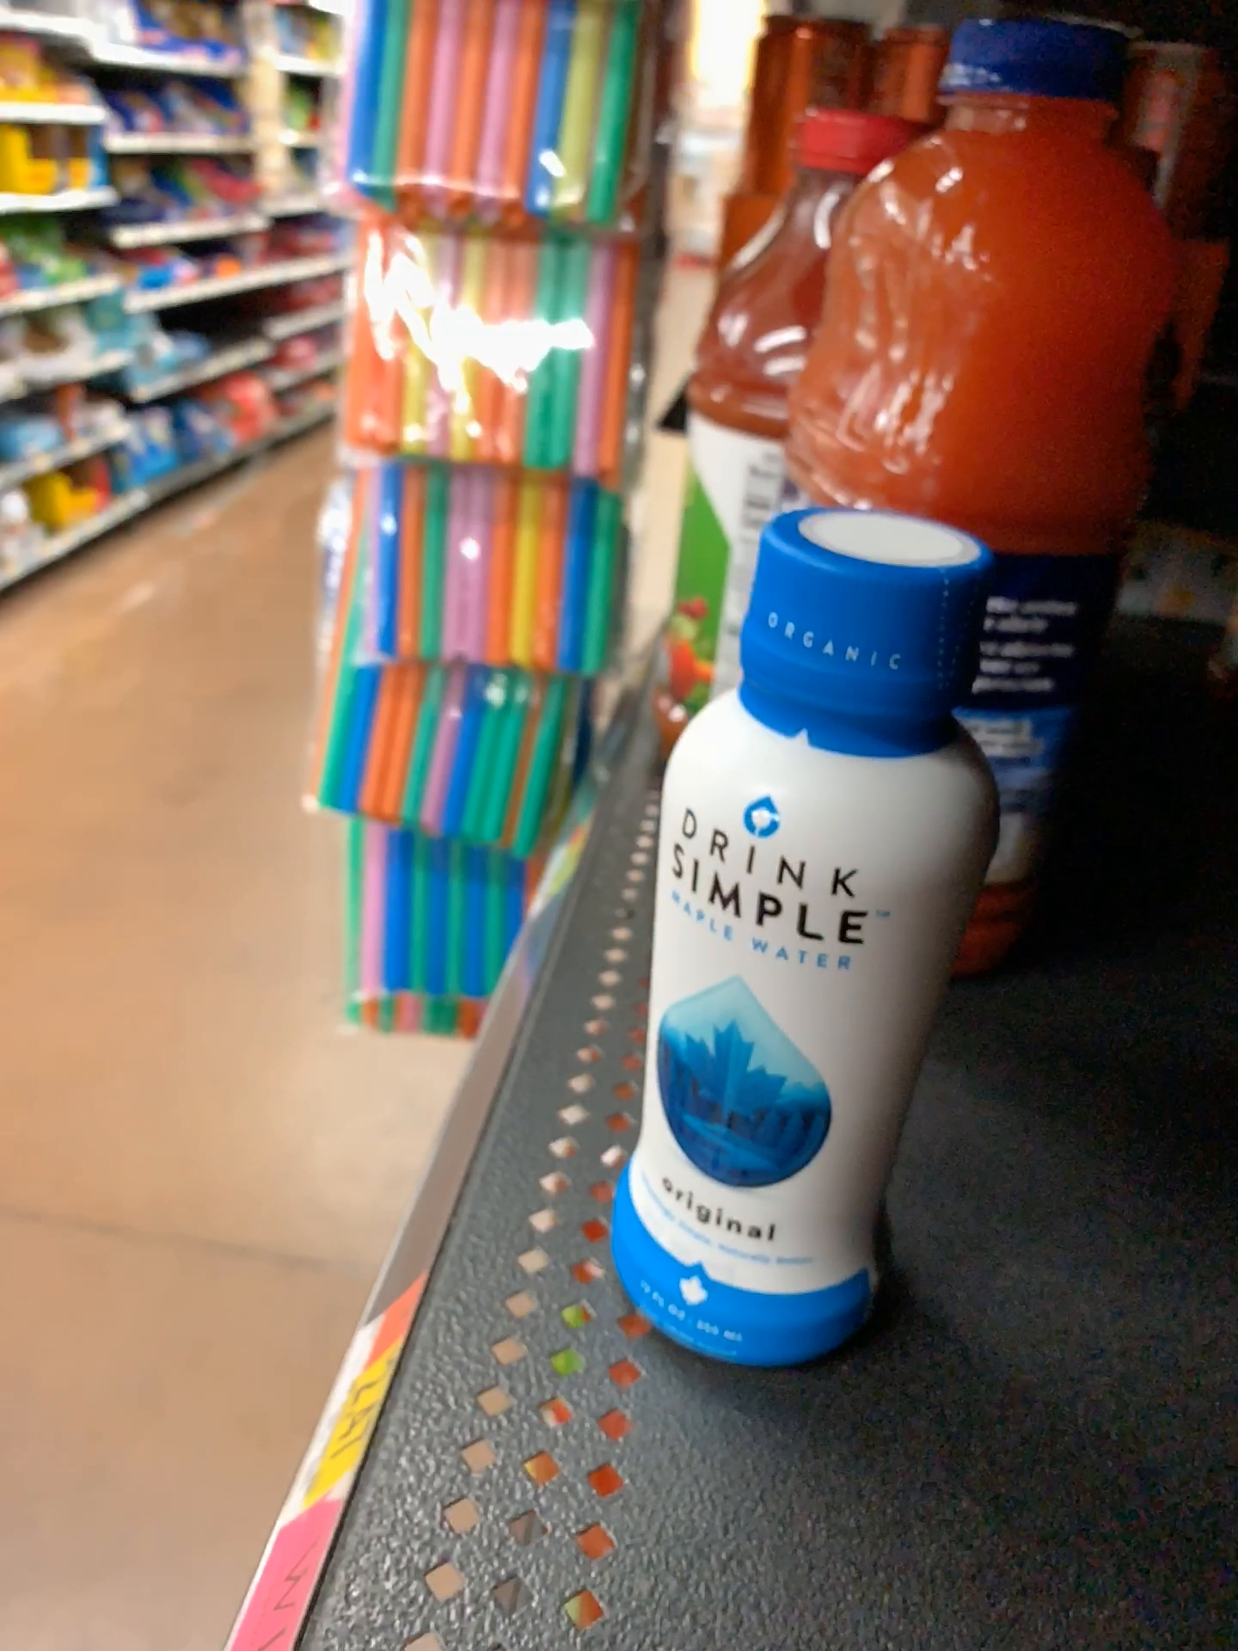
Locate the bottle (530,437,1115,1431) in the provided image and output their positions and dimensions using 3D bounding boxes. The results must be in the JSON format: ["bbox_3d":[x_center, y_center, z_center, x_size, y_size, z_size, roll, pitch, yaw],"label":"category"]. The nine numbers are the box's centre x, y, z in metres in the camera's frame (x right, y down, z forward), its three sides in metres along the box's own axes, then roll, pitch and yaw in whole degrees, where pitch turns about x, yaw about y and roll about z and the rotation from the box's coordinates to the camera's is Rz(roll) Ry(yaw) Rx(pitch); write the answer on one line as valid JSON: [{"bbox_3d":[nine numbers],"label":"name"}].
[{"bbox_3d":[0.033,0.021,0.256,0.070,0.169,0.066,3,28,-2],"label":"bottle"}]
